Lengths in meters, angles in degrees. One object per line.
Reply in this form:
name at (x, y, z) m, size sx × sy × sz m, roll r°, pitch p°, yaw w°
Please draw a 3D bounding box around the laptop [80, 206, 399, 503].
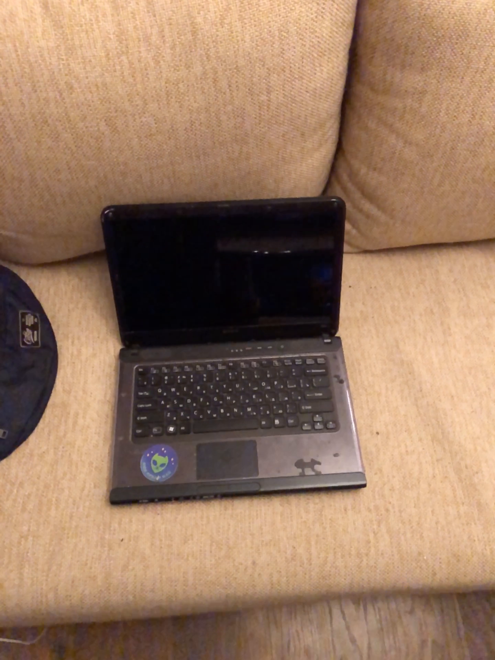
laptop at (-0.020, 0.028, 0.742) m, size 0.338 × 0.174 × 0.350 m, roll -3°, pitch 60°, yaw -2°
